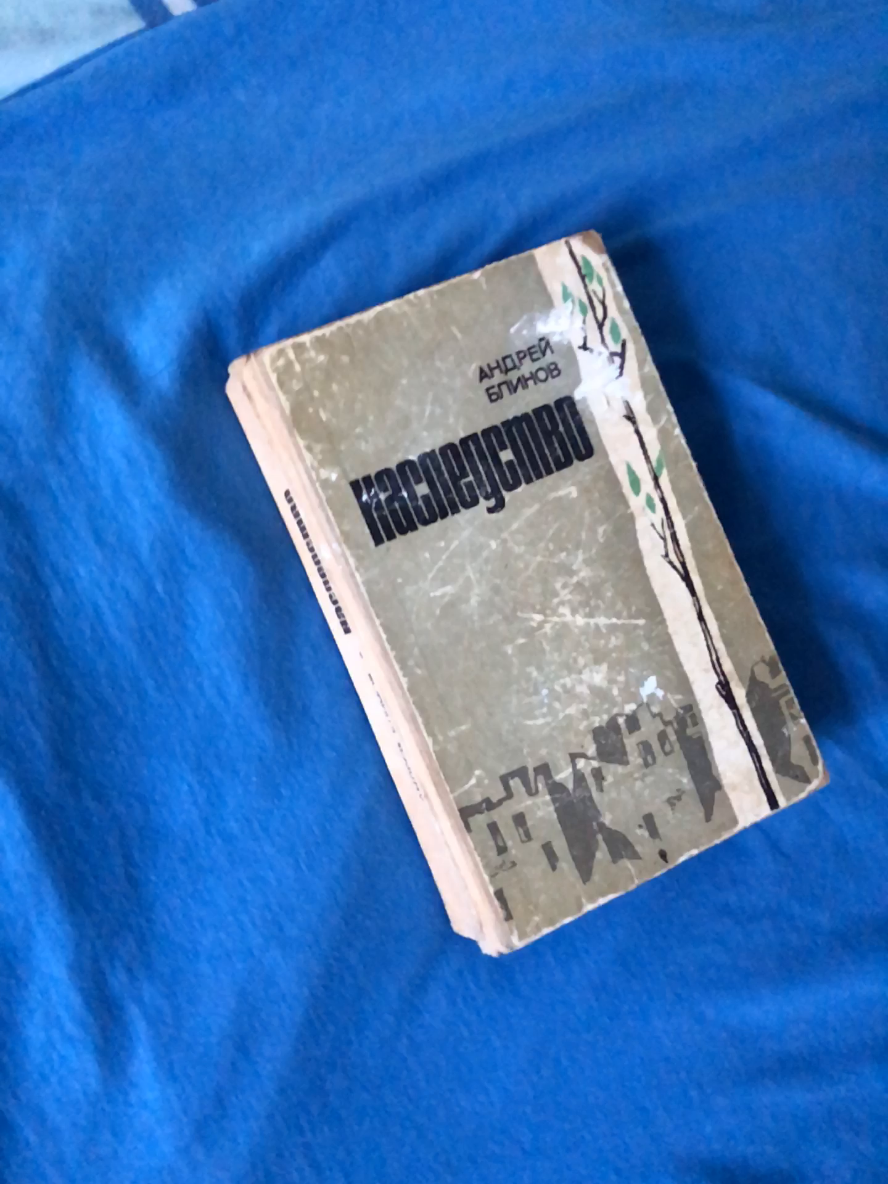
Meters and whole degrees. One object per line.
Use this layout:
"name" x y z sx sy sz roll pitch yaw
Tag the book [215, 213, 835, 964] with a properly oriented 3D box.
"book" 0.026 -0.005 0.325 0.130 0.040 0.200 -23 90 -15
